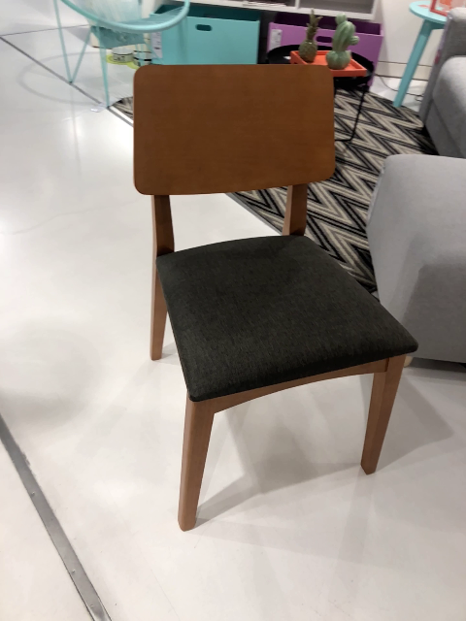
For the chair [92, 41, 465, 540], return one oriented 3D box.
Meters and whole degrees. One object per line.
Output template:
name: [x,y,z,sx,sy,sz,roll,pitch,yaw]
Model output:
chair: [0.055,-0.046,1.094,0.531,0.804,0.584,-10,44,-15]
